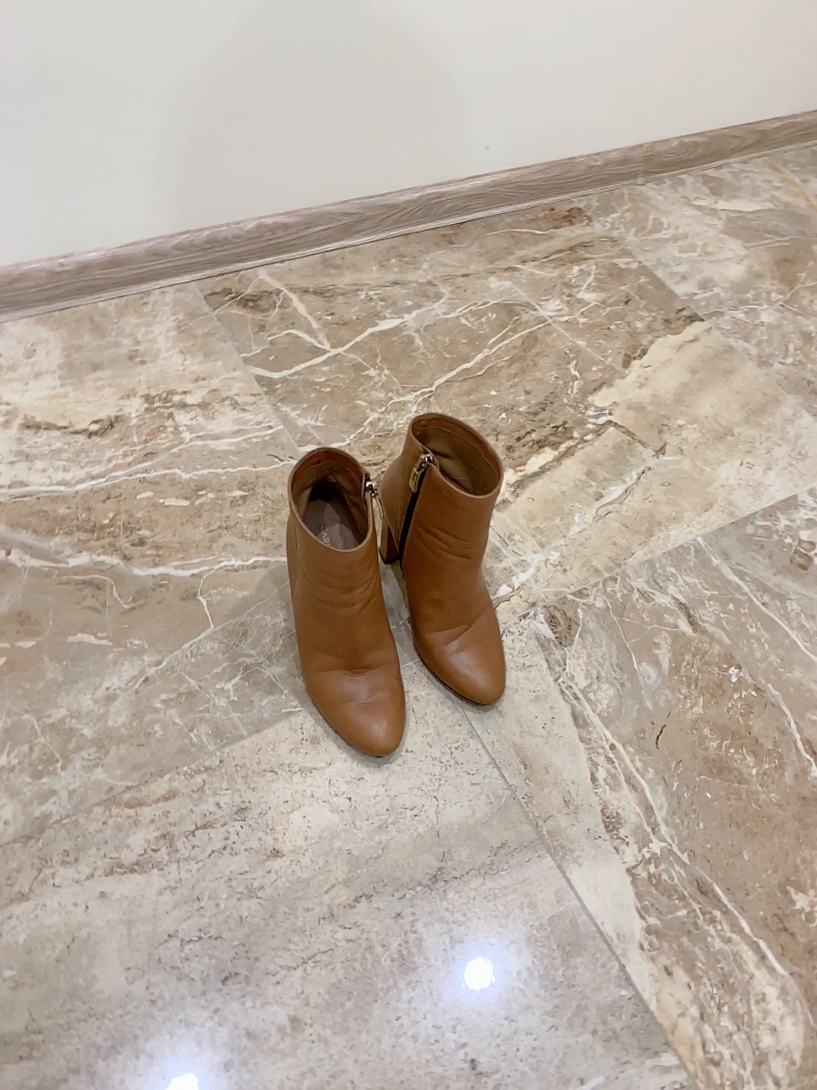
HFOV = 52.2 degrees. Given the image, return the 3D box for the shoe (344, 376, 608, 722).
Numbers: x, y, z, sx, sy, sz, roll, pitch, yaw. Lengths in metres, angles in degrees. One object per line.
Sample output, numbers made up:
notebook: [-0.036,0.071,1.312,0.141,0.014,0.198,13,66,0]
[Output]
shoe: [0.040,0.003,0.696,0.090,0.175,0.211,-21,59,-23]

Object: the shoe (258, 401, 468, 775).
shoe: [-0.050,0.035,0.668,0.090,0.185,0.221,-11,55,-17]
